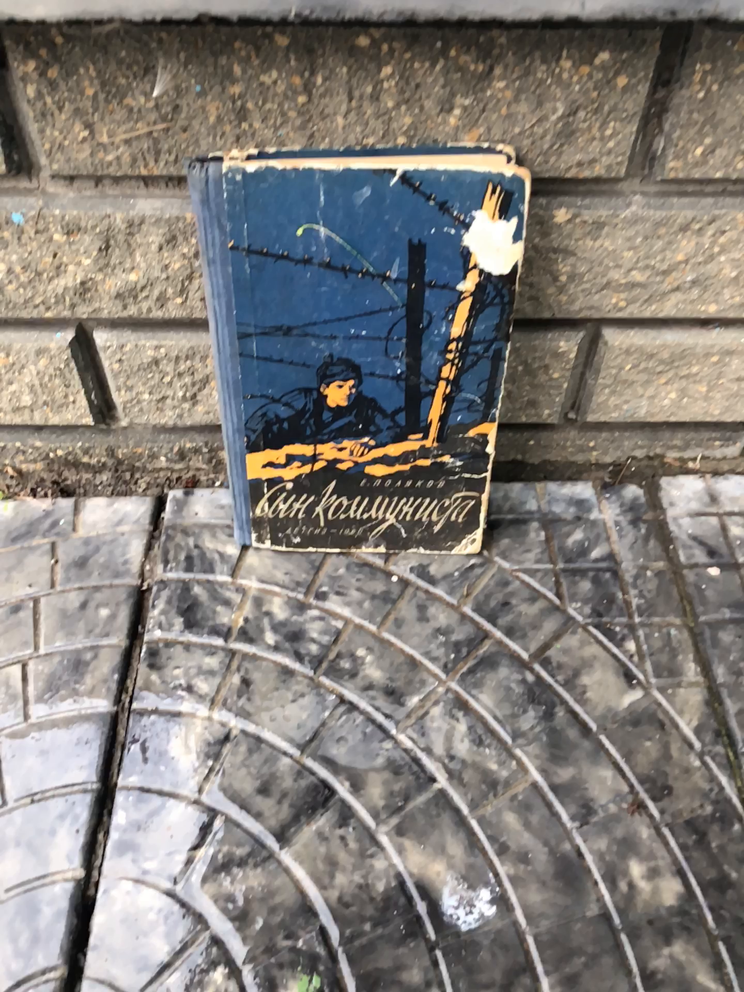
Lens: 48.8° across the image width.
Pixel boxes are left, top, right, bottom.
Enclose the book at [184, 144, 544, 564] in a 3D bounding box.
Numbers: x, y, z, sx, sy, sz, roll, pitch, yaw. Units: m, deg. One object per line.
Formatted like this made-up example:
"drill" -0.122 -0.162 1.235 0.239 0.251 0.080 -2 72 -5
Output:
"book" -0.004 -0.057 0.394 0.140 0.199 0.040 1 36 0
